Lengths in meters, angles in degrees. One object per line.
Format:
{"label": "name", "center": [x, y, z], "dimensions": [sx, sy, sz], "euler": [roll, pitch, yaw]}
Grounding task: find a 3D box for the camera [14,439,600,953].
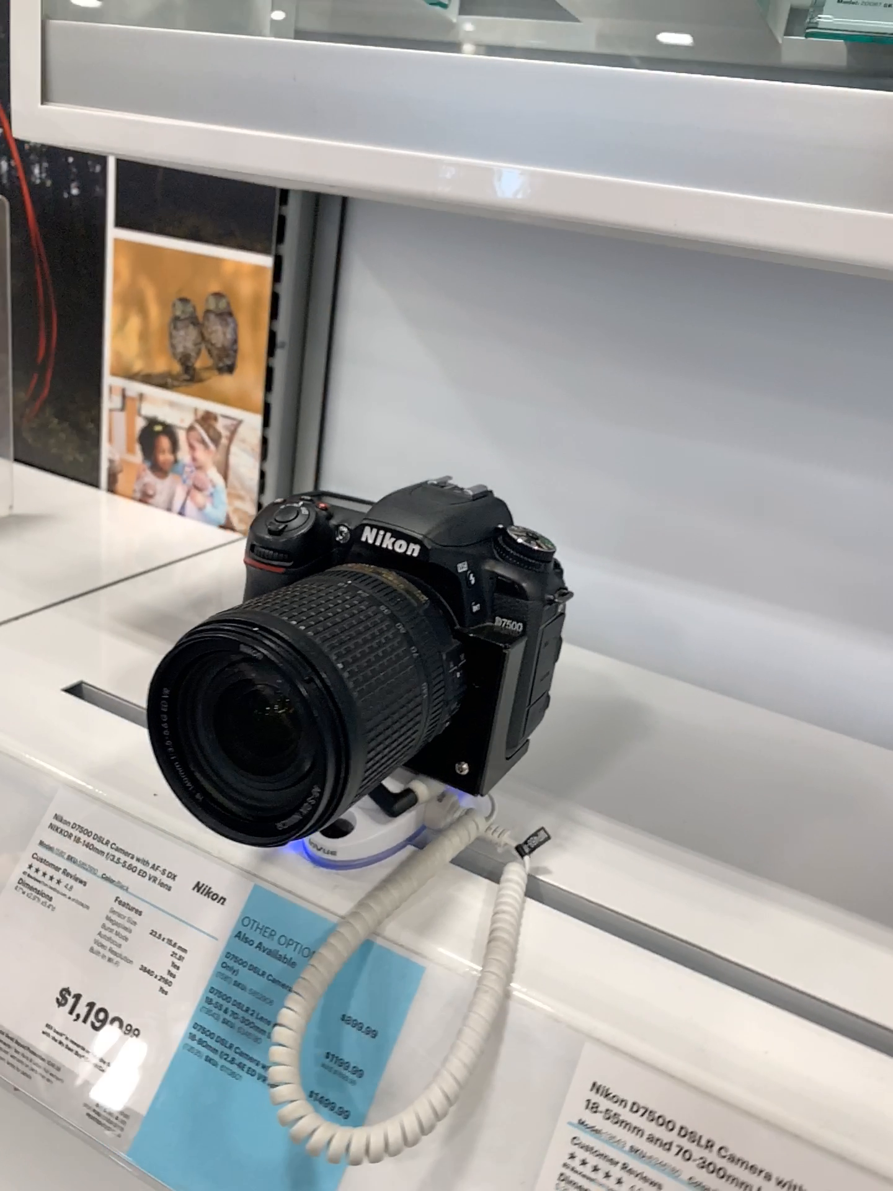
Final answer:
{"label": "camera", "center": [-0.038, 0.013, 0.340], "dimensions": [0.131, 0.107, 0.173], "euler": [16, 17, 19]}
